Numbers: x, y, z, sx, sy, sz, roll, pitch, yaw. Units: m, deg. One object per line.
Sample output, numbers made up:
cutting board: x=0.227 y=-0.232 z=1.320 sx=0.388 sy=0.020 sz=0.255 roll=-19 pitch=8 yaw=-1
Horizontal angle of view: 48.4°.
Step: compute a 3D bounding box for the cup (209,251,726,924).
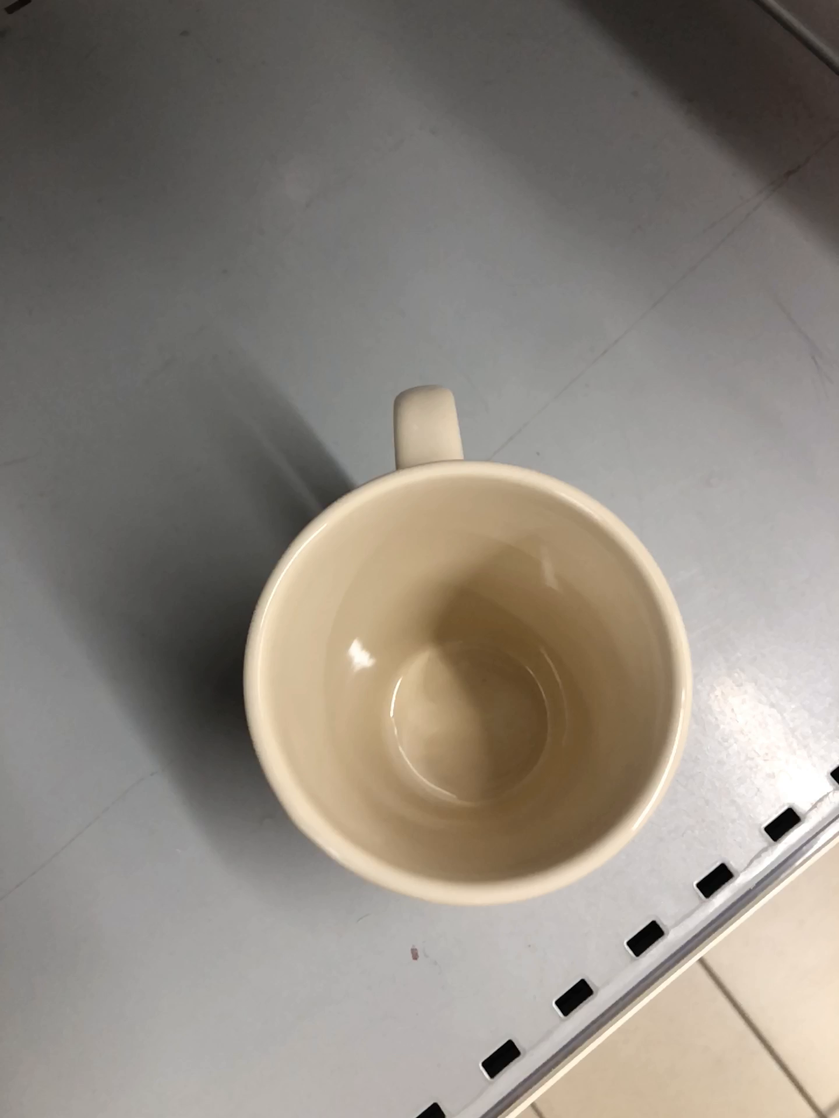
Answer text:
cup: x=0.006 y=0.013 z=0.220 sx=0.082 sy=0.100 sz=0.119 roll=-6 pitch=74 yaw=0
